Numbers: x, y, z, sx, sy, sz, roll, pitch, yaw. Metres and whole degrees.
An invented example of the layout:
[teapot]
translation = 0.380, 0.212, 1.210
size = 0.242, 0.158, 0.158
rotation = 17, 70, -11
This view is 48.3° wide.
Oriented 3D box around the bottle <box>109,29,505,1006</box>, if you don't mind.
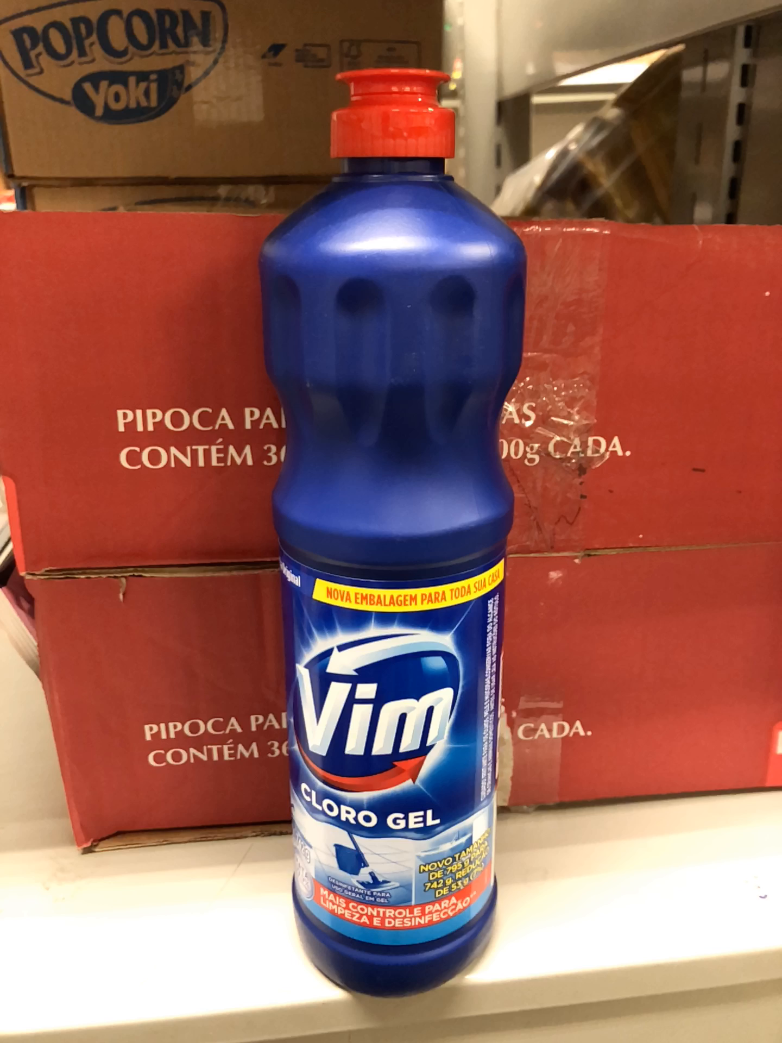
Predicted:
[bottle]
translation = -0.008, 0.010, 0.224
size = 0.070, 0.229, 0.060
rotation = 1, 21, 10
